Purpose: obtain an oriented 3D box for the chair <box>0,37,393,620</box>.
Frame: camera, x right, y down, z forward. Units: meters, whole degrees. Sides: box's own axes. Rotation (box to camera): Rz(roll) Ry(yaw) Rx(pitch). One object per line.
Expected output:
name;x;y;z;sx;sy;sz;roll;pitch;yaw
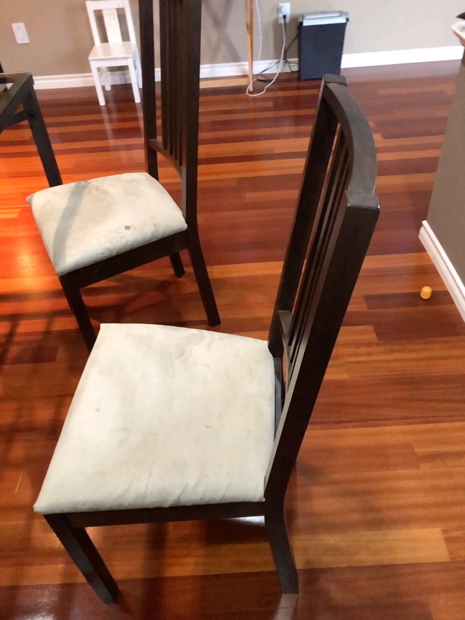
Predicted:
chair;-0.077;0.145;0.958;0.510;1.053;0.493;1;43;6
